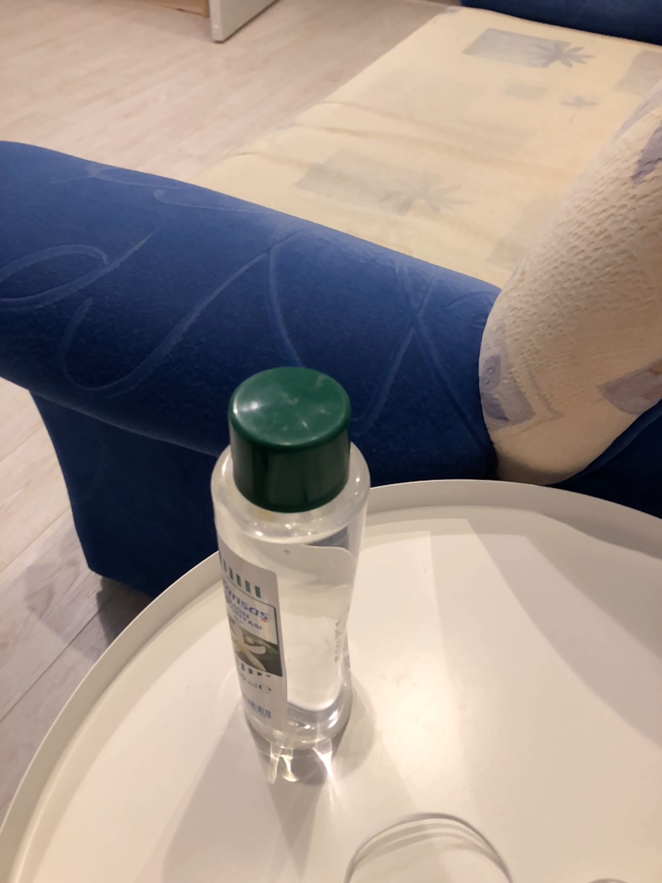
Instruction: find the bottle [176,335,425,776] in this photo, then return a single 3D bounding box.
[{"bbox_3d":[-0.012,0.060,0.298,0.059,0.199,0.052,-25,51,-24],"label":"bottle"}]
